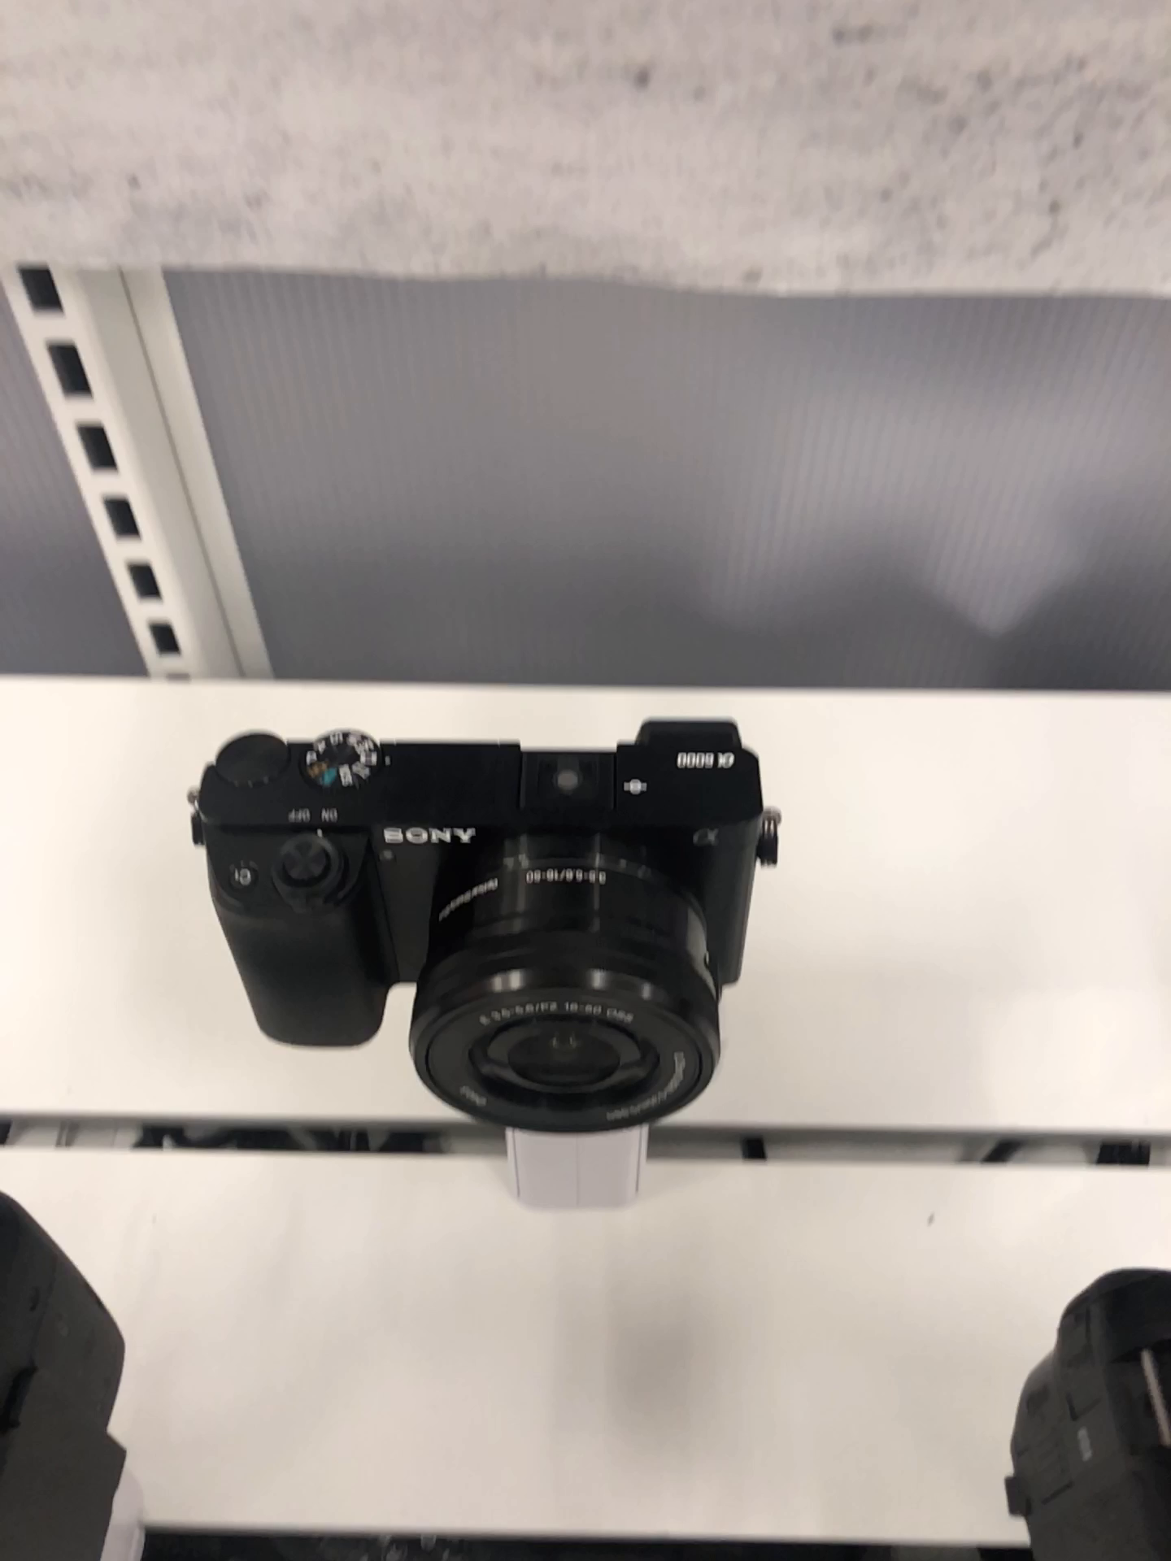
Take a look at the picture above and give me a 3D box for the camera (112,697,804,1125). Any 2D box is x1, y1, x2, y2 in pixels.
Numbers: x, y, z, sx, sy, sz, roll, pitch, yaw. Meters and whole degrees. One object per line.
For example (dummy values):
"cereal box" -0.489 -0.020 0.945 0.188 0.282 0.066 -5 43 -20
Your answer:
"camera" -0.022 0.027 0.270 0.120 0.058 0.067 0 51 0
